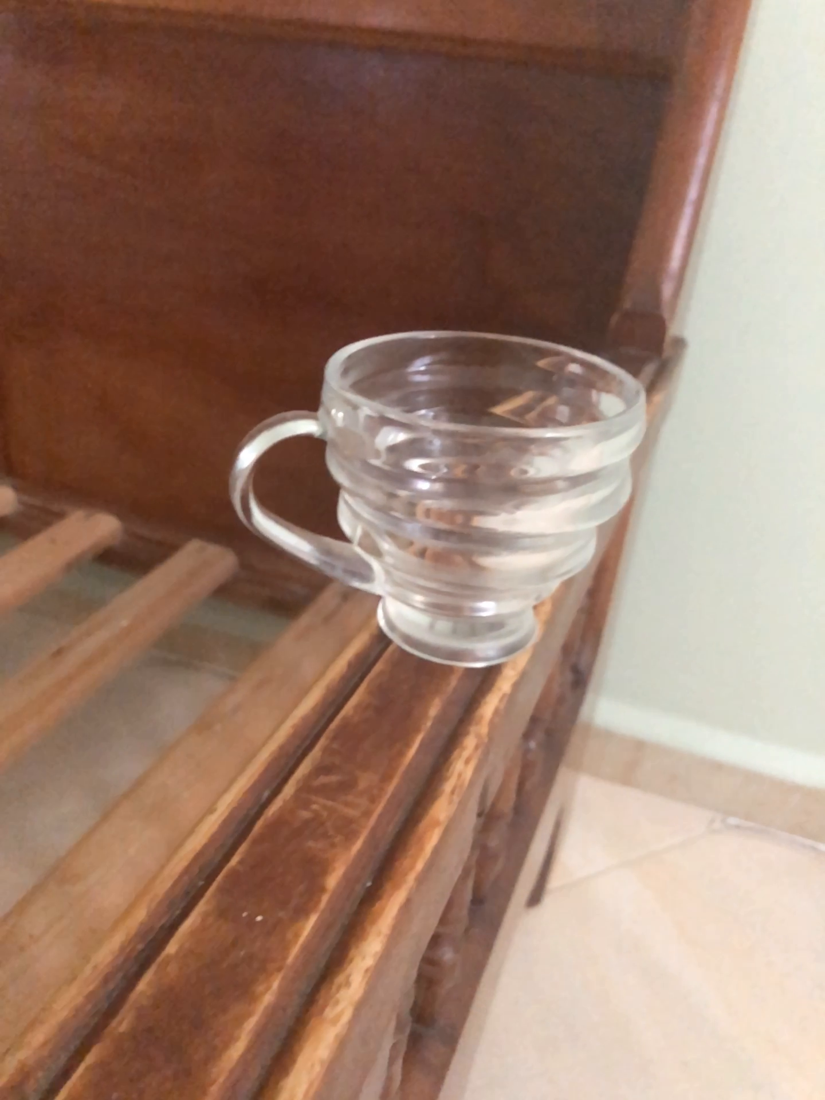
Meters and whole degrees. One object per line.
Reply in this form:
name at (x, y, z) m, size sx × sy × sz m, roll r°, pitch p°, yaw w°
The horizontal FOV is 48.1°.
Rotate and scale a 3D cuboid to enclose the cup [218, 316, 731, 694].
cup at (0.010, -0.014, 0.237) m, size 0.105 × 0.065 × 0.076 m, roll 2°, pitch 28°, yaw -4°
